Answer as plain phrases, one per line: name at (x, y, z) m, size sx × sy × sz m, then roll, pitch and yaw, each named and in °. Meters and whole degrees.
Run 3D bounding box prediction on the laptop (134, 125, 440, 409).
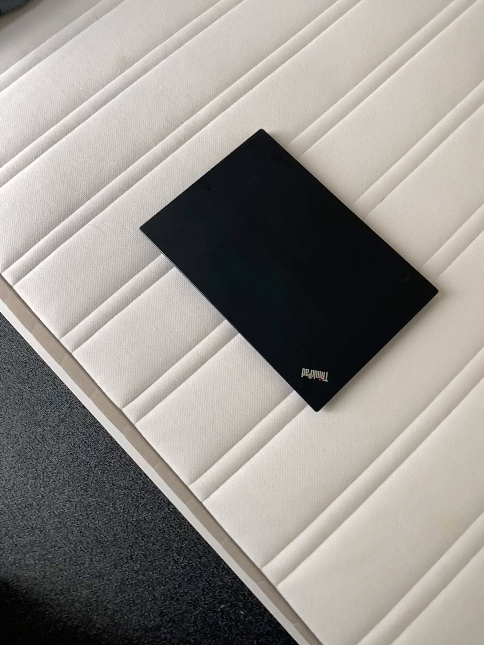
laptop at (0.057, -0.085, 0.634) m, size 0.225 × 0.012 × 0.325 m, roll -42°, pitch 80°, yaw -14°
